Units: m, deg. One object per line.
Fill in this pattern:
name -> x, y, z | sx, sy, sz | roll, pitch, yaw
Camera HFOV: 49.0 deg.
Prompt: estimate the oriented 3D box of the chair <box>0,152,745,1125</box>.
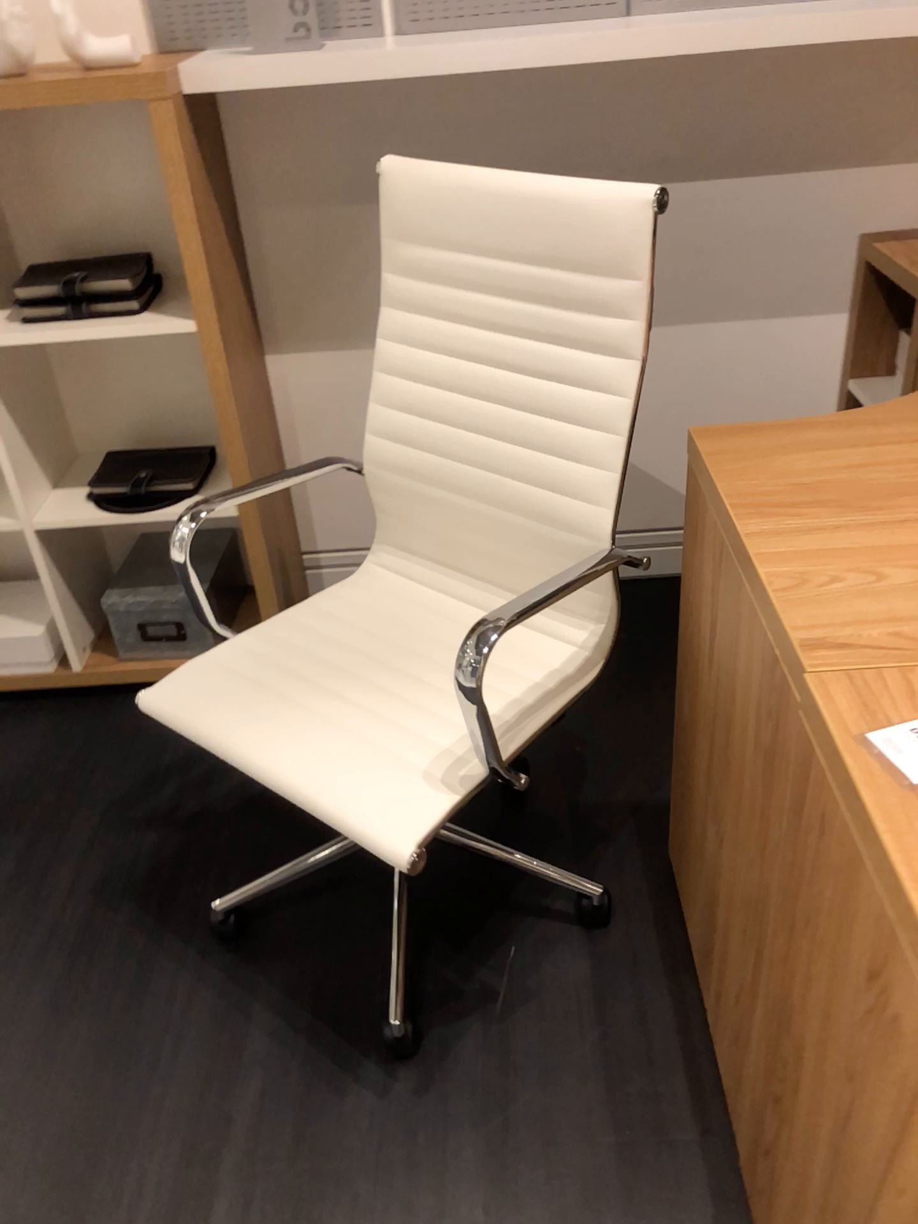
chair -> -0.085, -0.011, 1.389 | 0.632, 1.012, 0.633 | 22, 42, 35
